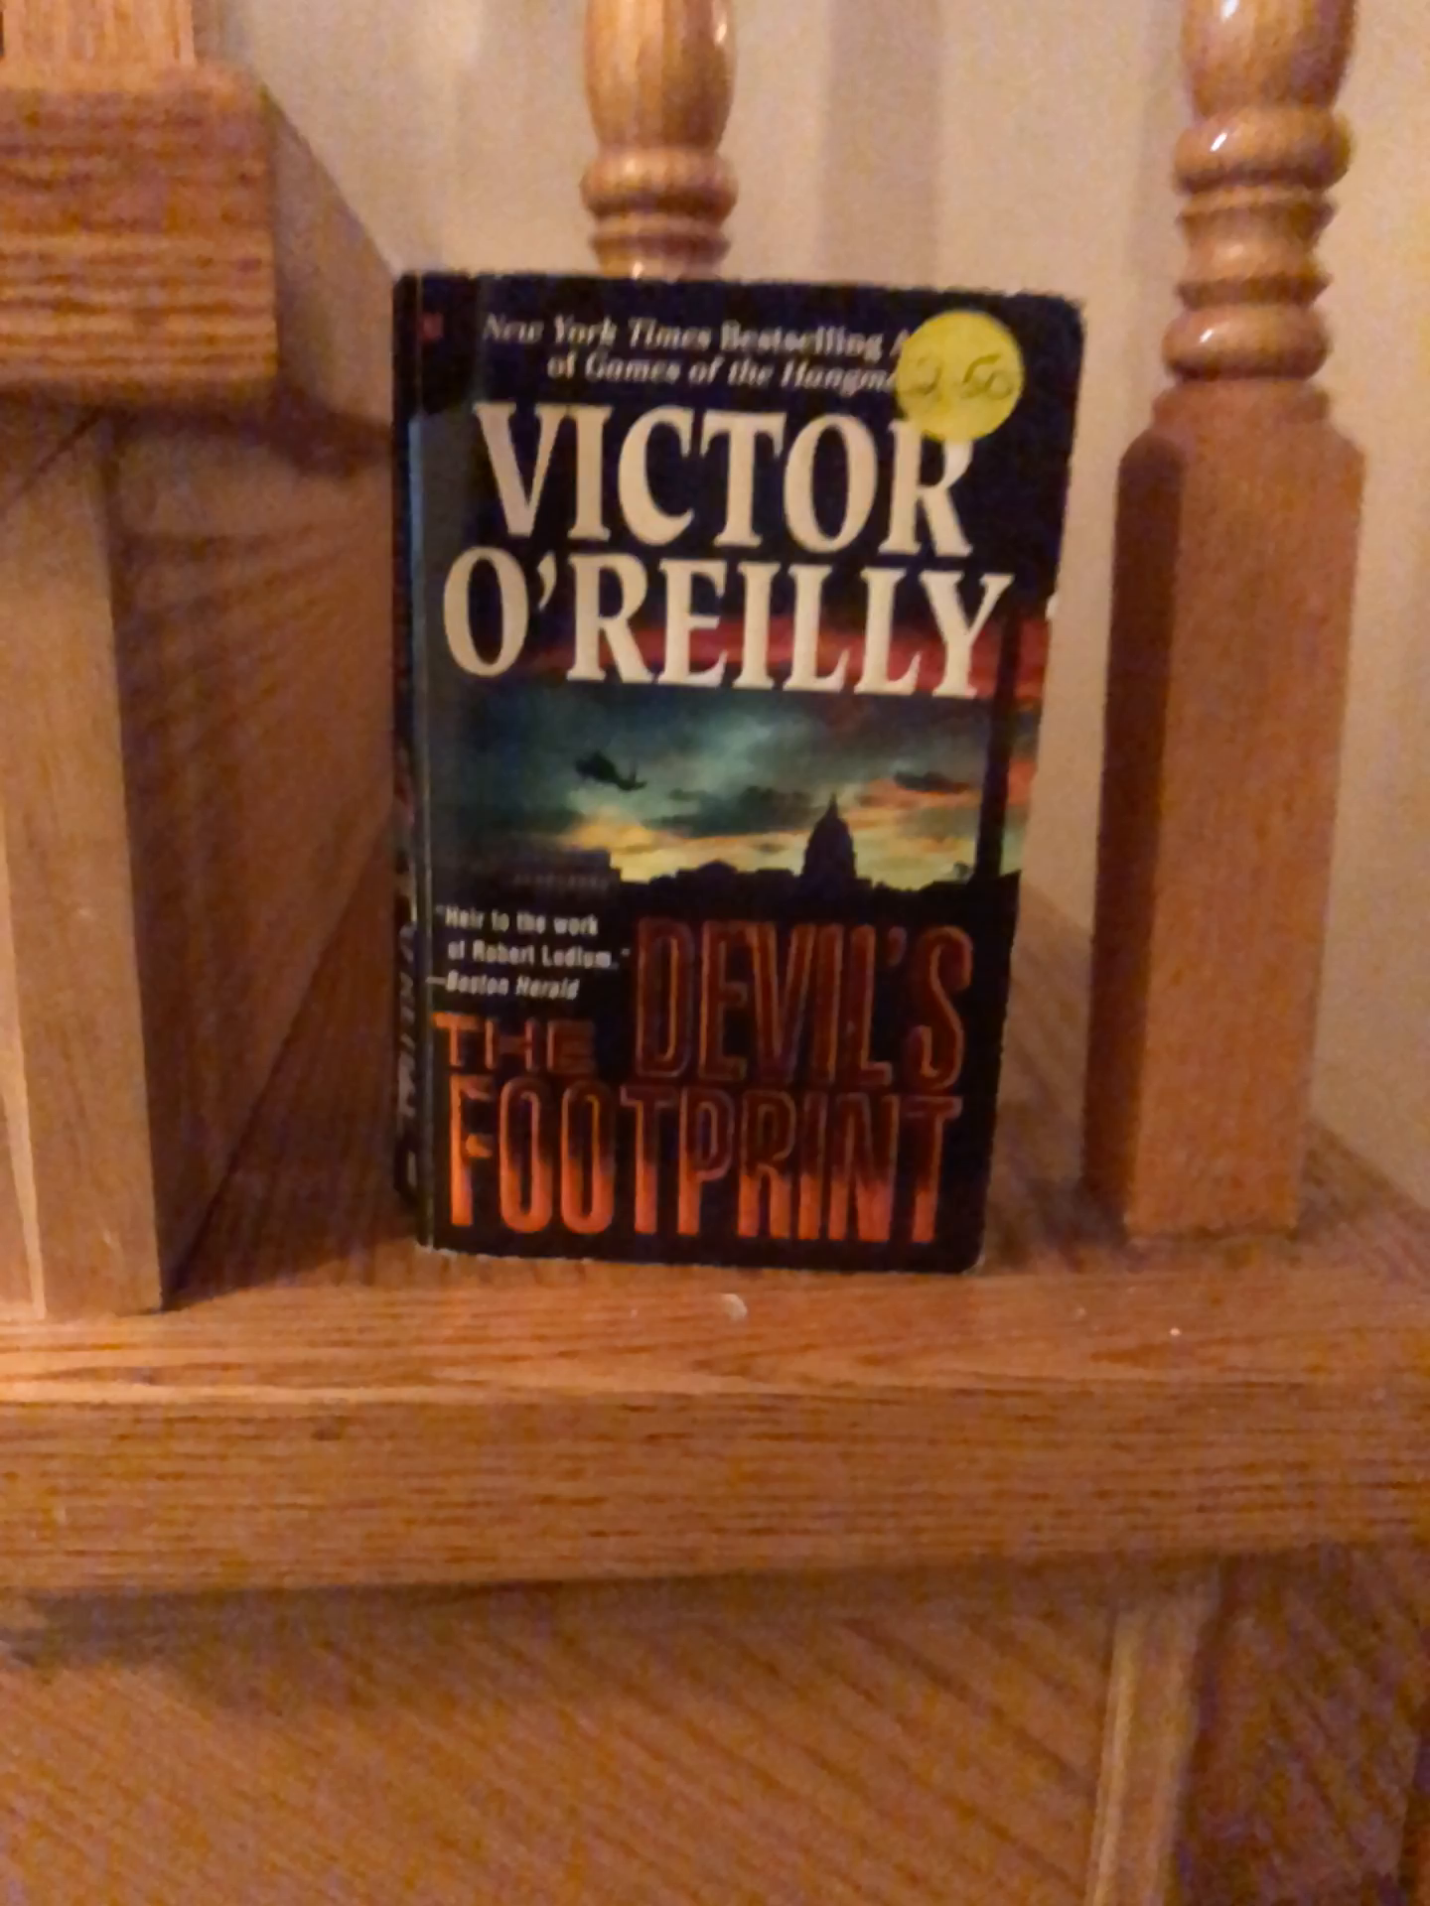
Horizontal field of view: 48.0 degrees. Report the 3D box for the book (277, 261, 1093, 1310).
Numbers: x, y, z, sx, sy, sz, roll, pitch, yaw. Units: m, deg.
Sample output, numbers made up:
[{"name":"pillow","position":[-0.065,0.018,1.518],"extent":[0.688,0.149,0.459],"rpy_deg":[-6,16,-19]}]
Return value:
[{"name":"book","position":[-0.004,-0.029,0.284],"extent":[0.120,0.169,0.050],"rpy_deg":[3,18,6]}]
